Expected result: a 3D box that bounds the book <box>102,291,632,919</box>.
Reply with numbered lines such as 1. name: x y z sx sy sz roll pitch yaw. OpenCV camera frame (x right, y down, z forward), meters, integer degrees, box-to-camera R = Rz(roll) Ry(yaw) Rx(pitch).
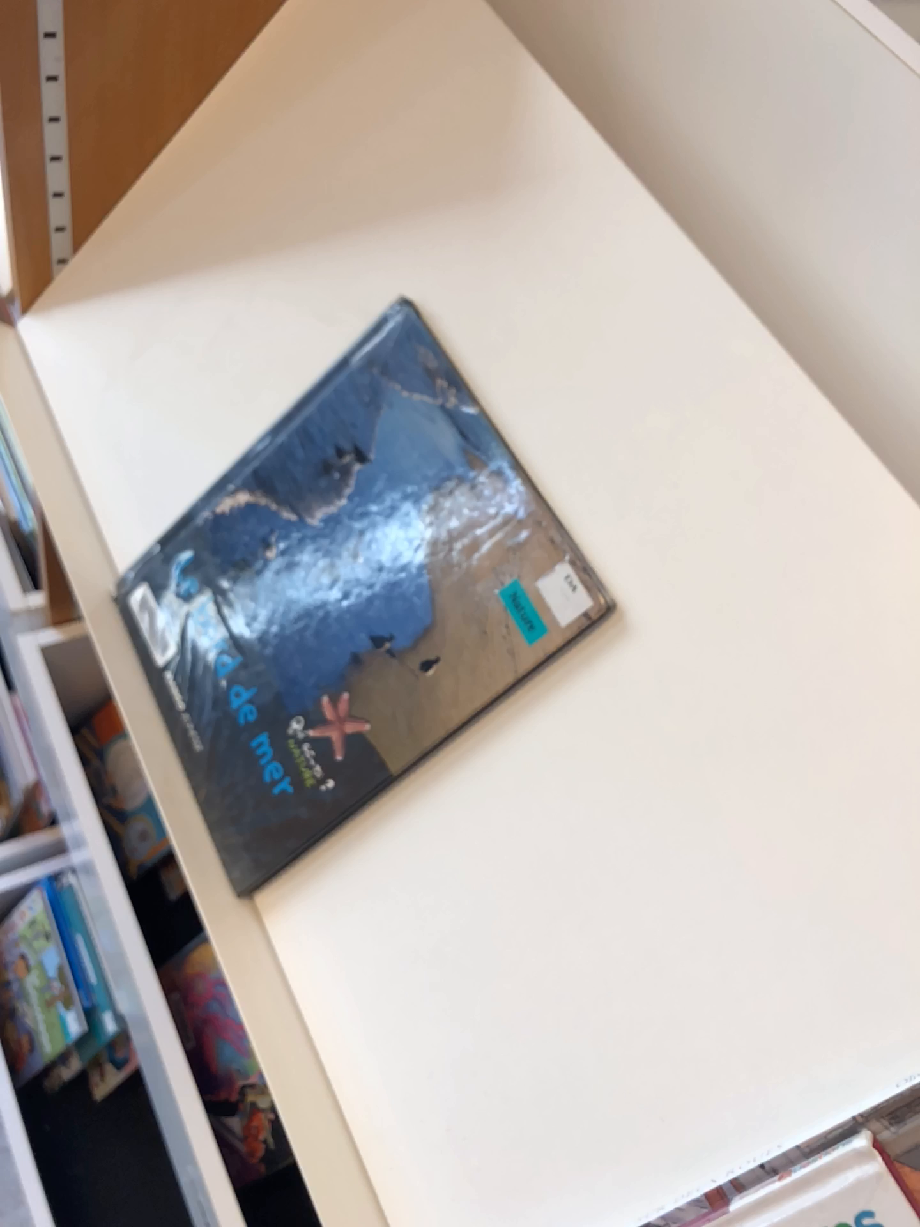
1. book: -0.067 -0.004 0.516 0.020 0.244 0.209 17 39 -57
